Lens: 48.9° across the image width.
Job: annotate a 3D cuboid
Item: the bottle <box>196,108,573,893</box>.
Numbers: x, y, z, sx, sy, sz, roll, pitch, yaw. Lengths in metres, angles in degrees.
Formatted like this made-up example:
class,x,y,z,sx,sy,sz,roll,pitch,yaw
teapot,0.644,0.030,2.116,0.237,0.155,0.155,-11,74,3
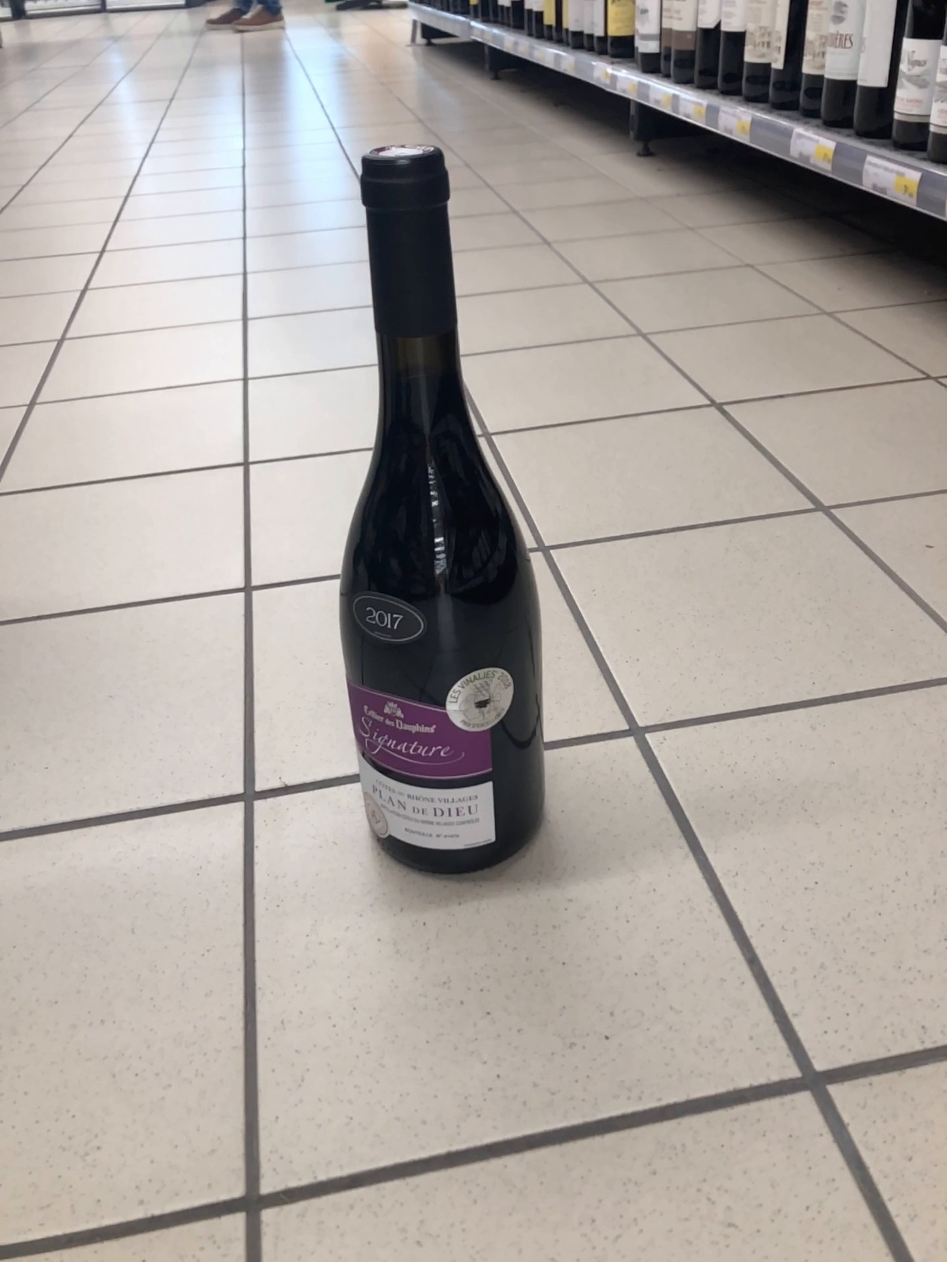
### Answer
class,x,y,z,sx,sy,sz,roll,pitch,yaw
bottle,-0.018,-0.042,0.414,0.090,0.288,0.091,-3,32,2
